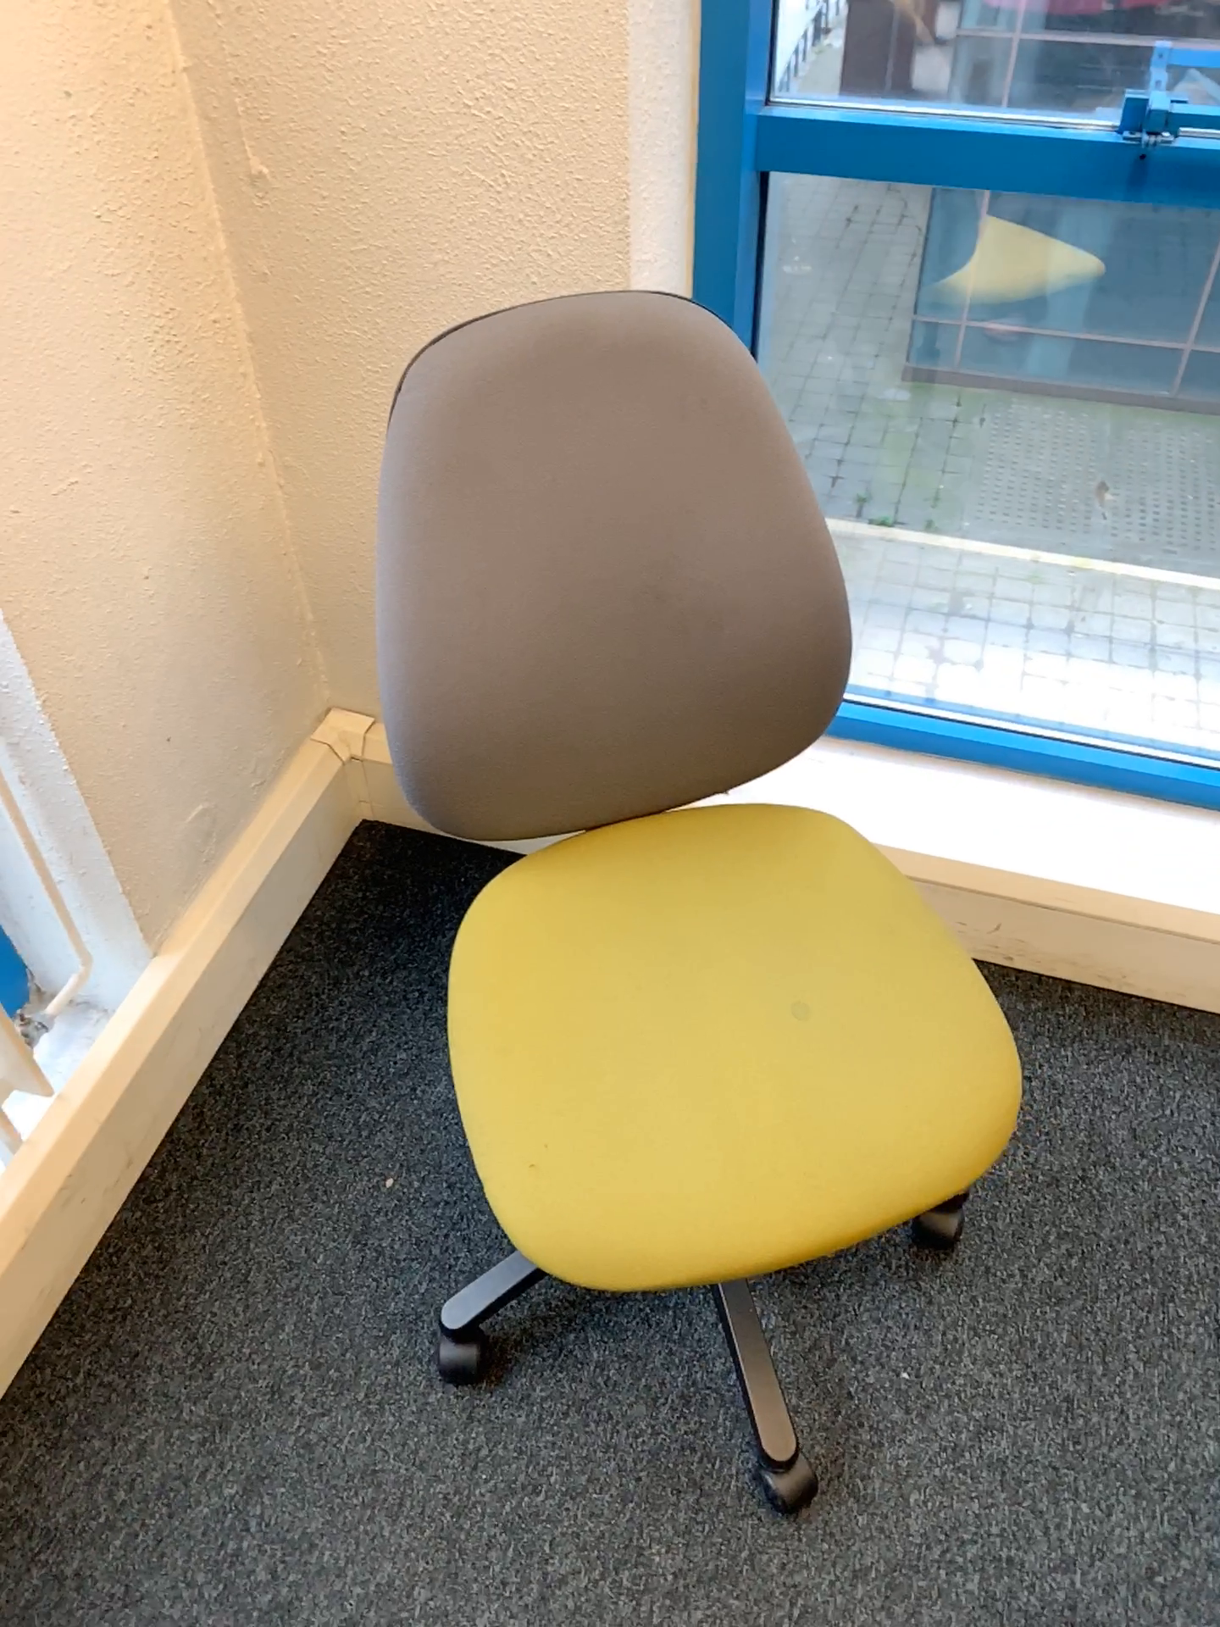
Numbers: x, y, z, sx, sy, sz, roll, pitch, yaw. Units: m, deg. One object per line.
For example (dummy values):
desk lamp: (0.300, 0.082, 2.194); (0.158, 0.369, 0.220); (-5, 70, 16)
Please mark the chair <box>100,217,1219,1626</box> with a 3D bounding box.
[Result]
chair: (0.072, 0.112, 1.057); (0.693, 0.877, 0.683); (-14, 46, -13)
